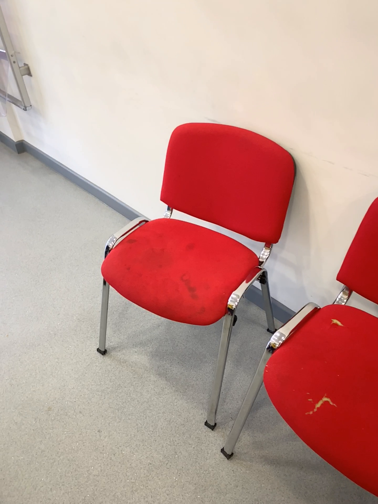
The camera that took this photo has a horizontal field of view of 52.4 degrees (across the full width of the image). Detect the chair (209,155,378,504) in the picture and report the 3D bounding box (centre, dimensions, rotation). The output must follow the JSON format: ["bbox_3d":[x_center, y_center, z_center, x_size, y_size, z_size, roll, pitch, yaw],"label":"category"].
[{"bbox_3d":[0.464,0.316,0.955,0.590,0.792,0.571,-32,48,-29],"label":"chair"}]

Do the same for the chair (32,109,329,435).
[{"bbox_3d":[0.010,0.032,1.348,0.600,0.752,0.631,24,47,28],"label":"chair"}]
